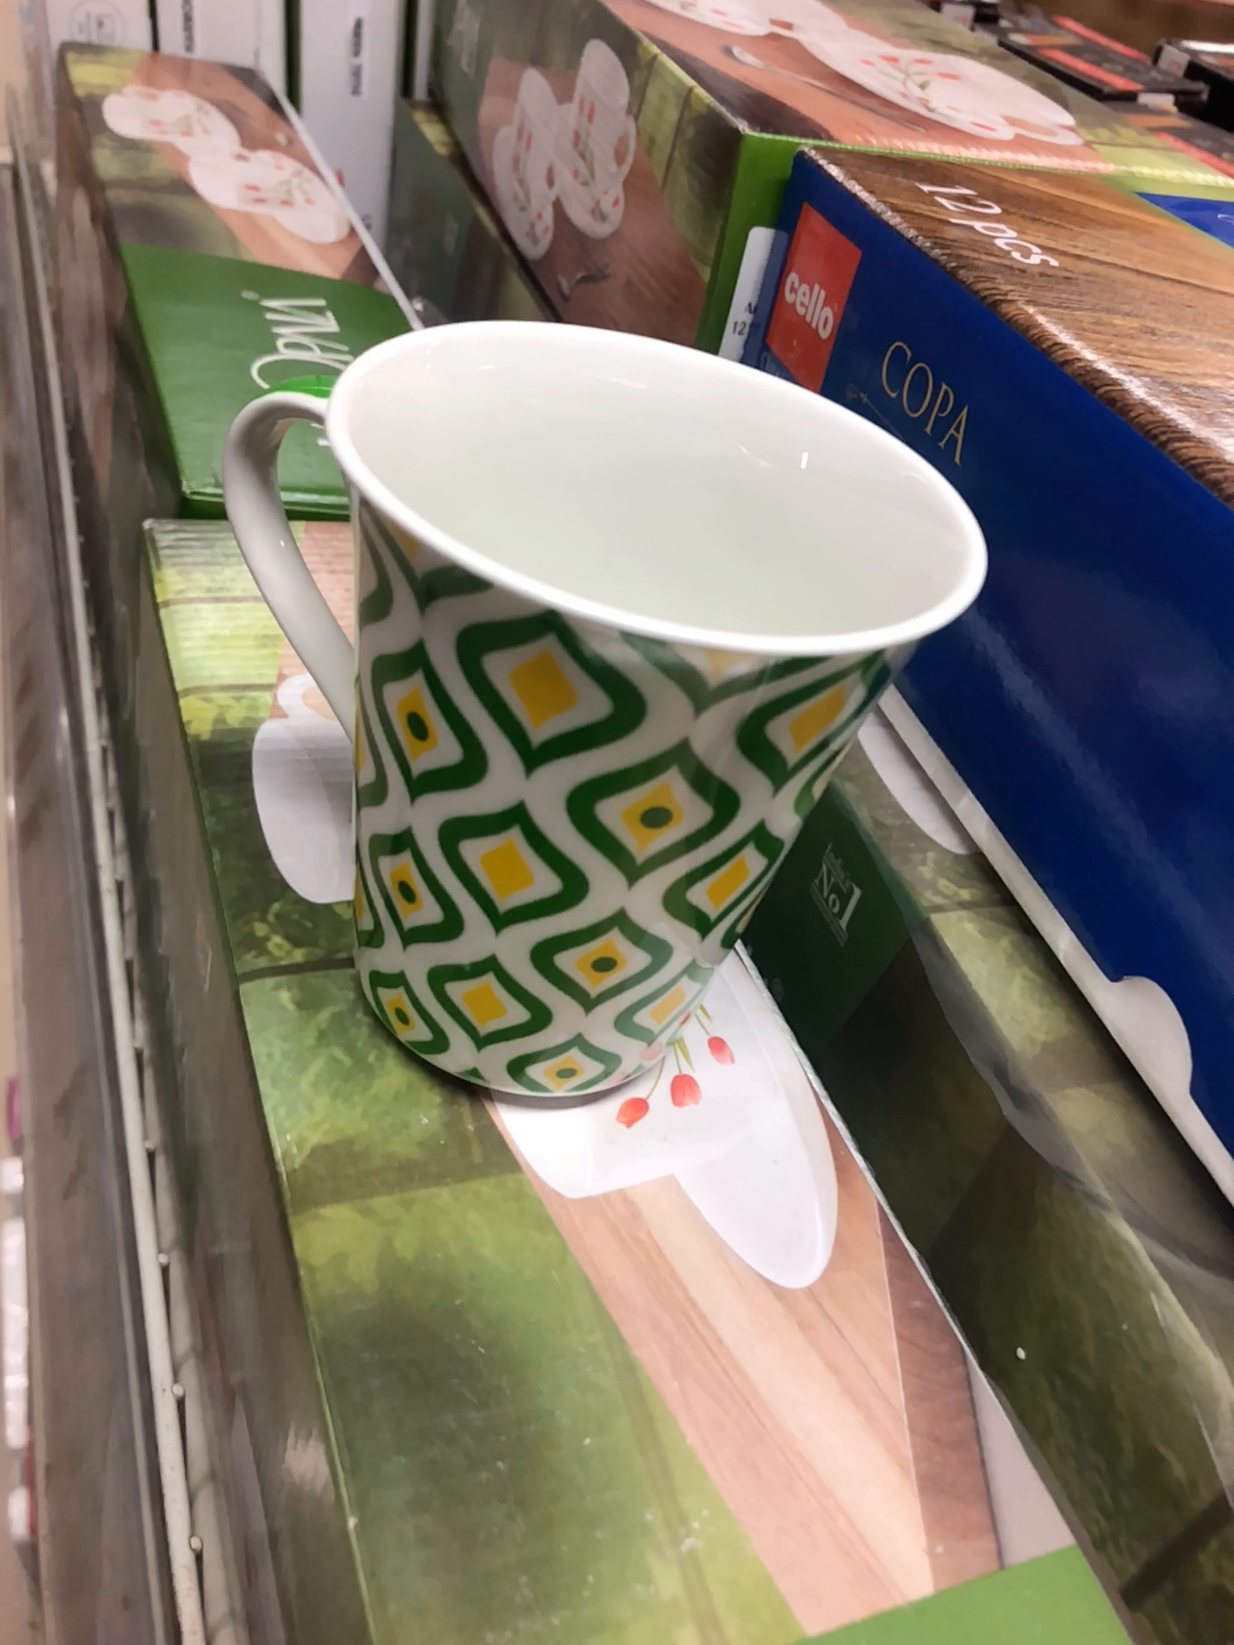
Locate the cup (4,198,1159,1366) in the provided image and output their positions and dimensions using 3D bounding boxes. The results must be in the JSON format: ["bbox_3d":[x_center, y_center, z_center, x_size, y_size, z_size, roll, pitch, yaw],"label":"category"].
[{"bbox_3d":[-0.008,-0.011,0.205,0.120,0.109,0.080,26,41,16],"label":"cup"}]
